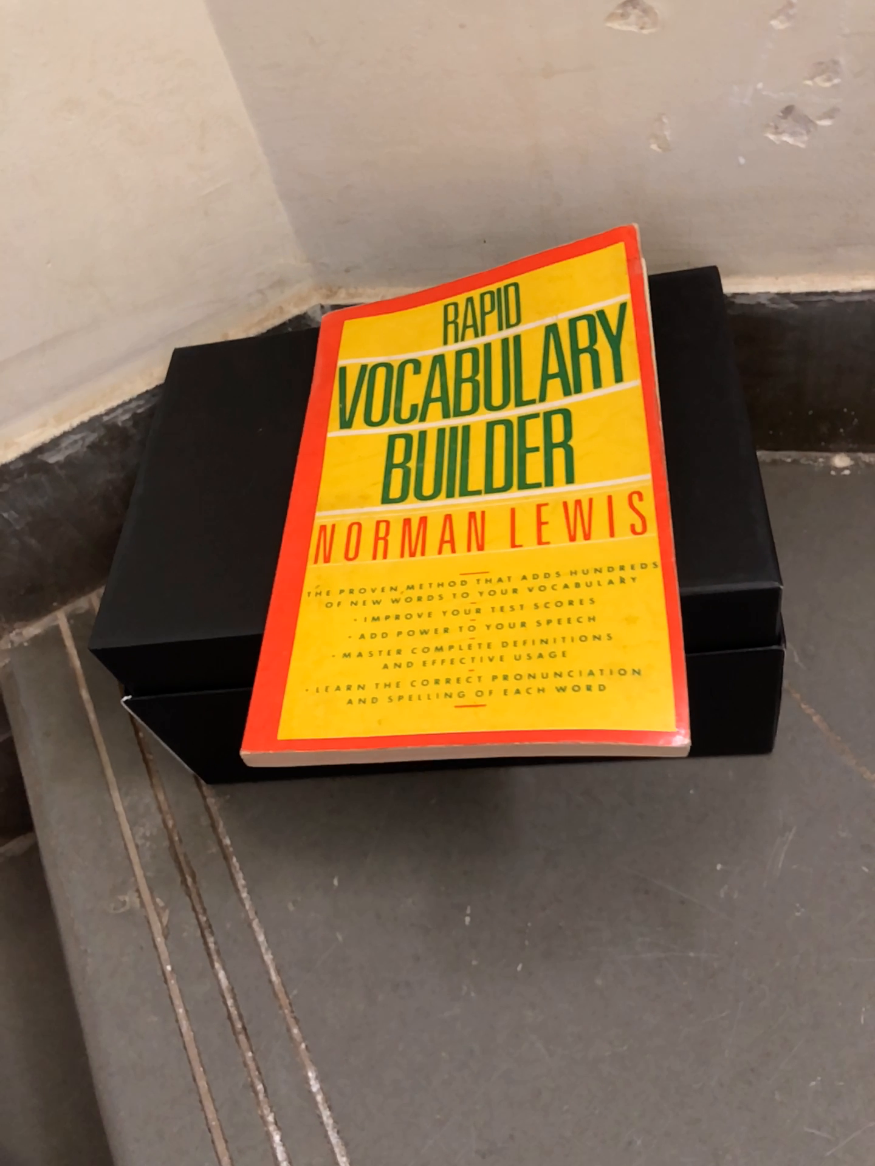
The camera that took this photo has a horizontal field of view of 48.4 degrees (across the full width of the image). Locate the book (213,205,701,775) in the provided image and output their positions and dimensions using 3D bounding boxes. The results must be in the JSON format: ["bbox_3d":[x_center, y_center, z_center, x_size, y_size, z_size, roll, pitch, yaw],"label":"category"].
[{"bbox_3d":[0.014,-0.045,0.352,0.140,0.030,0.231,-4,53,13],"label":"book"}]
